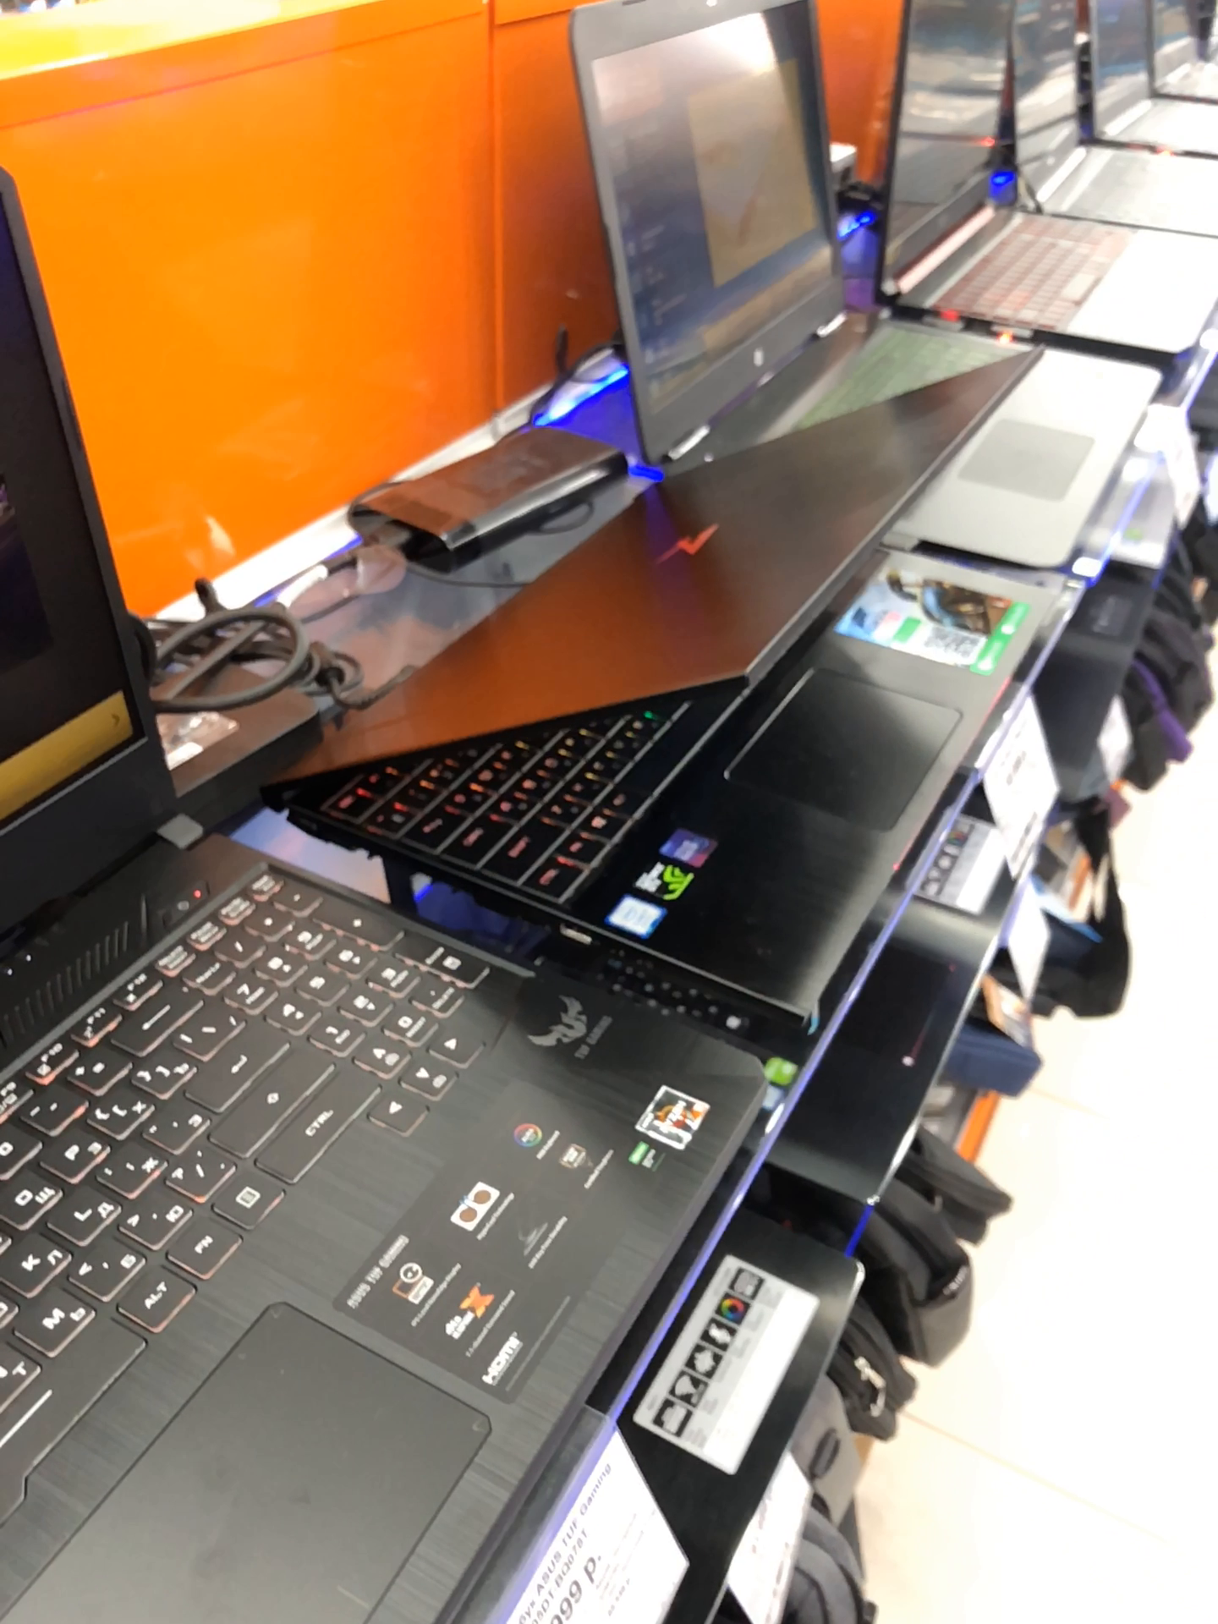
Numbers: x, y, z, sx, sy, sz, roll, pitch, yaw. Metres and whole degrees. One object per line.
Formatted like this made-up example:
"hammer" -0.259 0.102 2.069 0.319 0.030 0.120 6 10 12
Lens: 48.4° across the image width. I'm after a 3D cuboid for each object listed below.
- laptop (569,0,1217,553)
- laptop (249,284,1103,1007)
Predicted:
"laptop" 0.194 -0.375 0.869 0.306 0.252 0.336 17 39 21
"laptop" 0.055 -0.111 0.617 0.233 0.118 0.361 20 41 20
